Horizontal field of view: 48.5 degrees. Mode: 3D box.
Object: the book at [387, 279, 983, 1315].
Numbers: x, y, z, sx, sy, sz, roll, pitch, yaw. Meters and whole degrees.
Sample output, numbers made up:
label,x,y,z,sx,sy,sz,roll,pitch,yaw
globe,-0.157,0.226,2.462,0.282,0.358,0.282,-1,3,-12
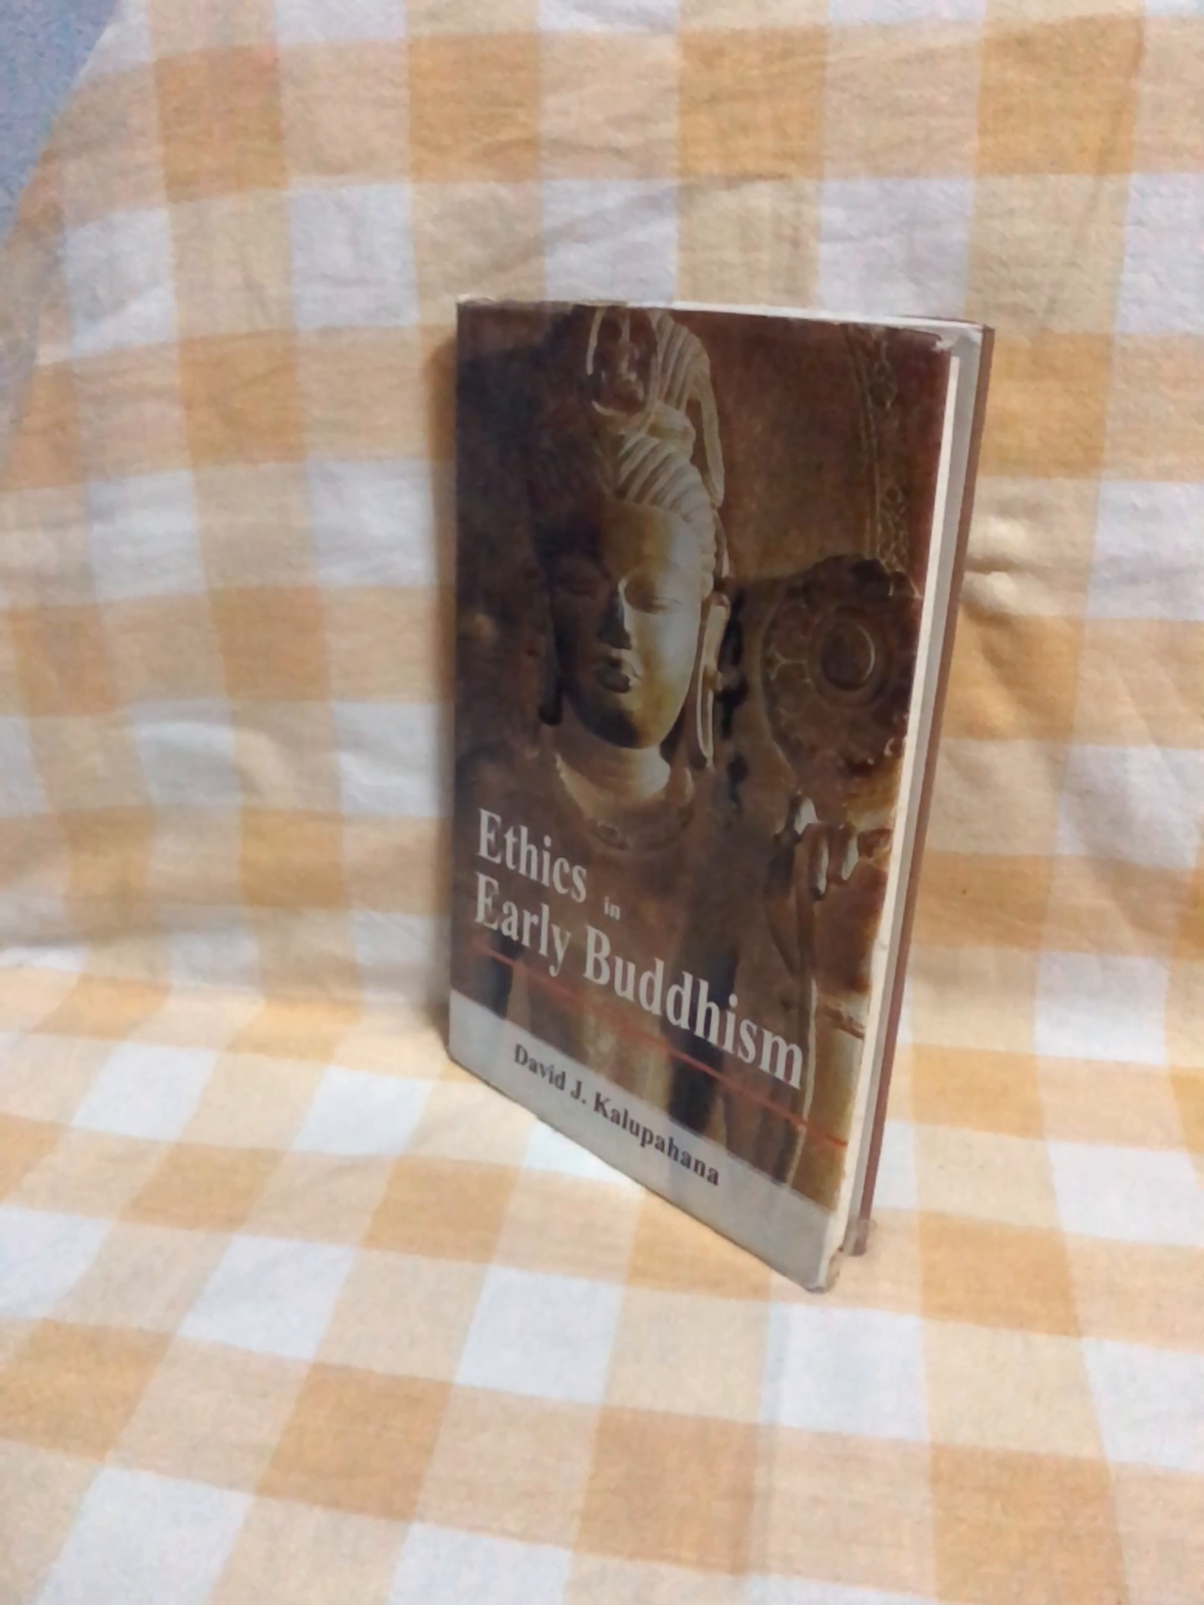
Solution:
label,x,y,z,sx,sy,sz,roll,pitch,yaw
book,0.004,-0.007,0.341,0.160,0.229,0.020,22,29,40
